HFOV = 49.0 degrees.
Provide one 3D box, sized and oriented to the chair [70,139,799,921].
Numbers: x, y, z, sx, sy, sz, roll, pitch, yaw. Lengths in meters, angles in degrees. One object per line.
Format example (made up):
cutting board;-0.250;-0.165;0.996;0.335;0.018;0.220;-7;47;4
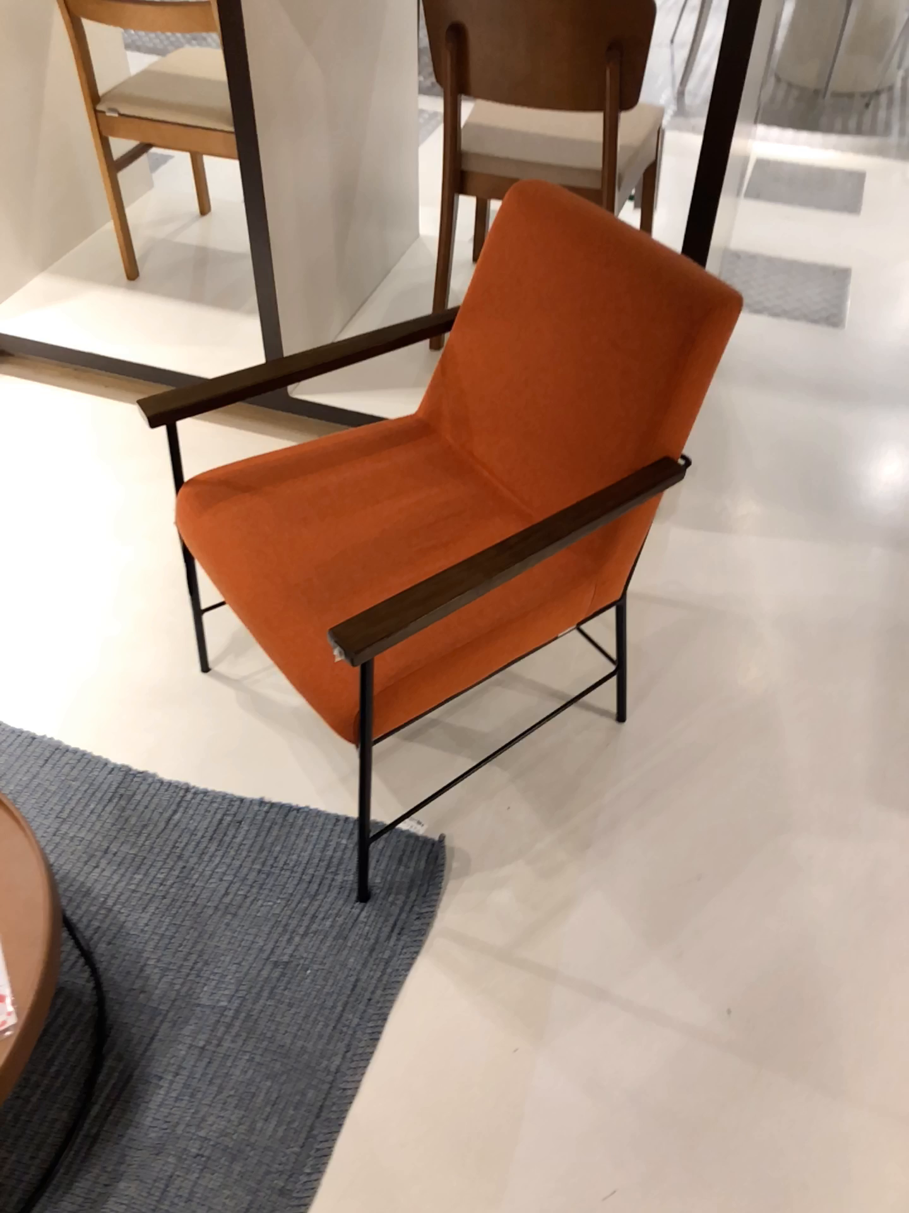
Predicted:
chair;-0.045;-0.136;1.586;0.702;0.824;0.653;-26;51;-24
